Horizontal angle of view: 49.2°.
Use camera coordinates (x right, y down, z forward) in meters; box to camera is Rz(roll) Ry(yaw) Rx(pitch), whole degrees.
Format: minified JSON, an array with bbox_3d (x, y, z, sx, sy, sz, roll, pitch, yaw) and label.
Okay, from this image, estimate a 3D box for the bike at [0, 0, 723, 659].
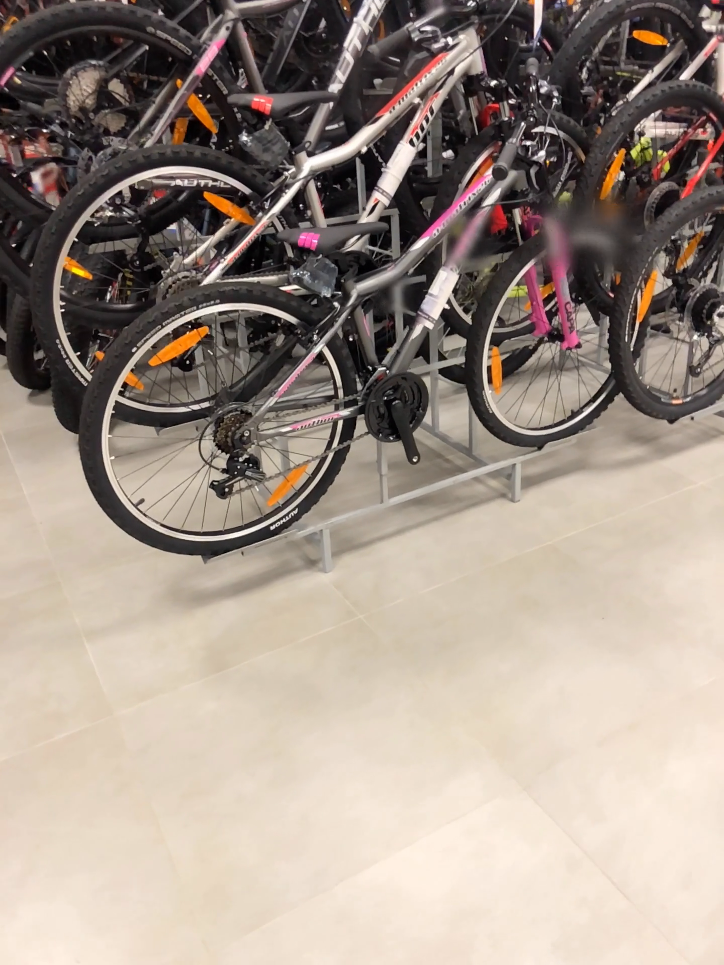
[{"bbox_3d":[0.114,-0.502,1.856,1.608,0.991,0.600,-20,31,-23],"label":"bike"}]
